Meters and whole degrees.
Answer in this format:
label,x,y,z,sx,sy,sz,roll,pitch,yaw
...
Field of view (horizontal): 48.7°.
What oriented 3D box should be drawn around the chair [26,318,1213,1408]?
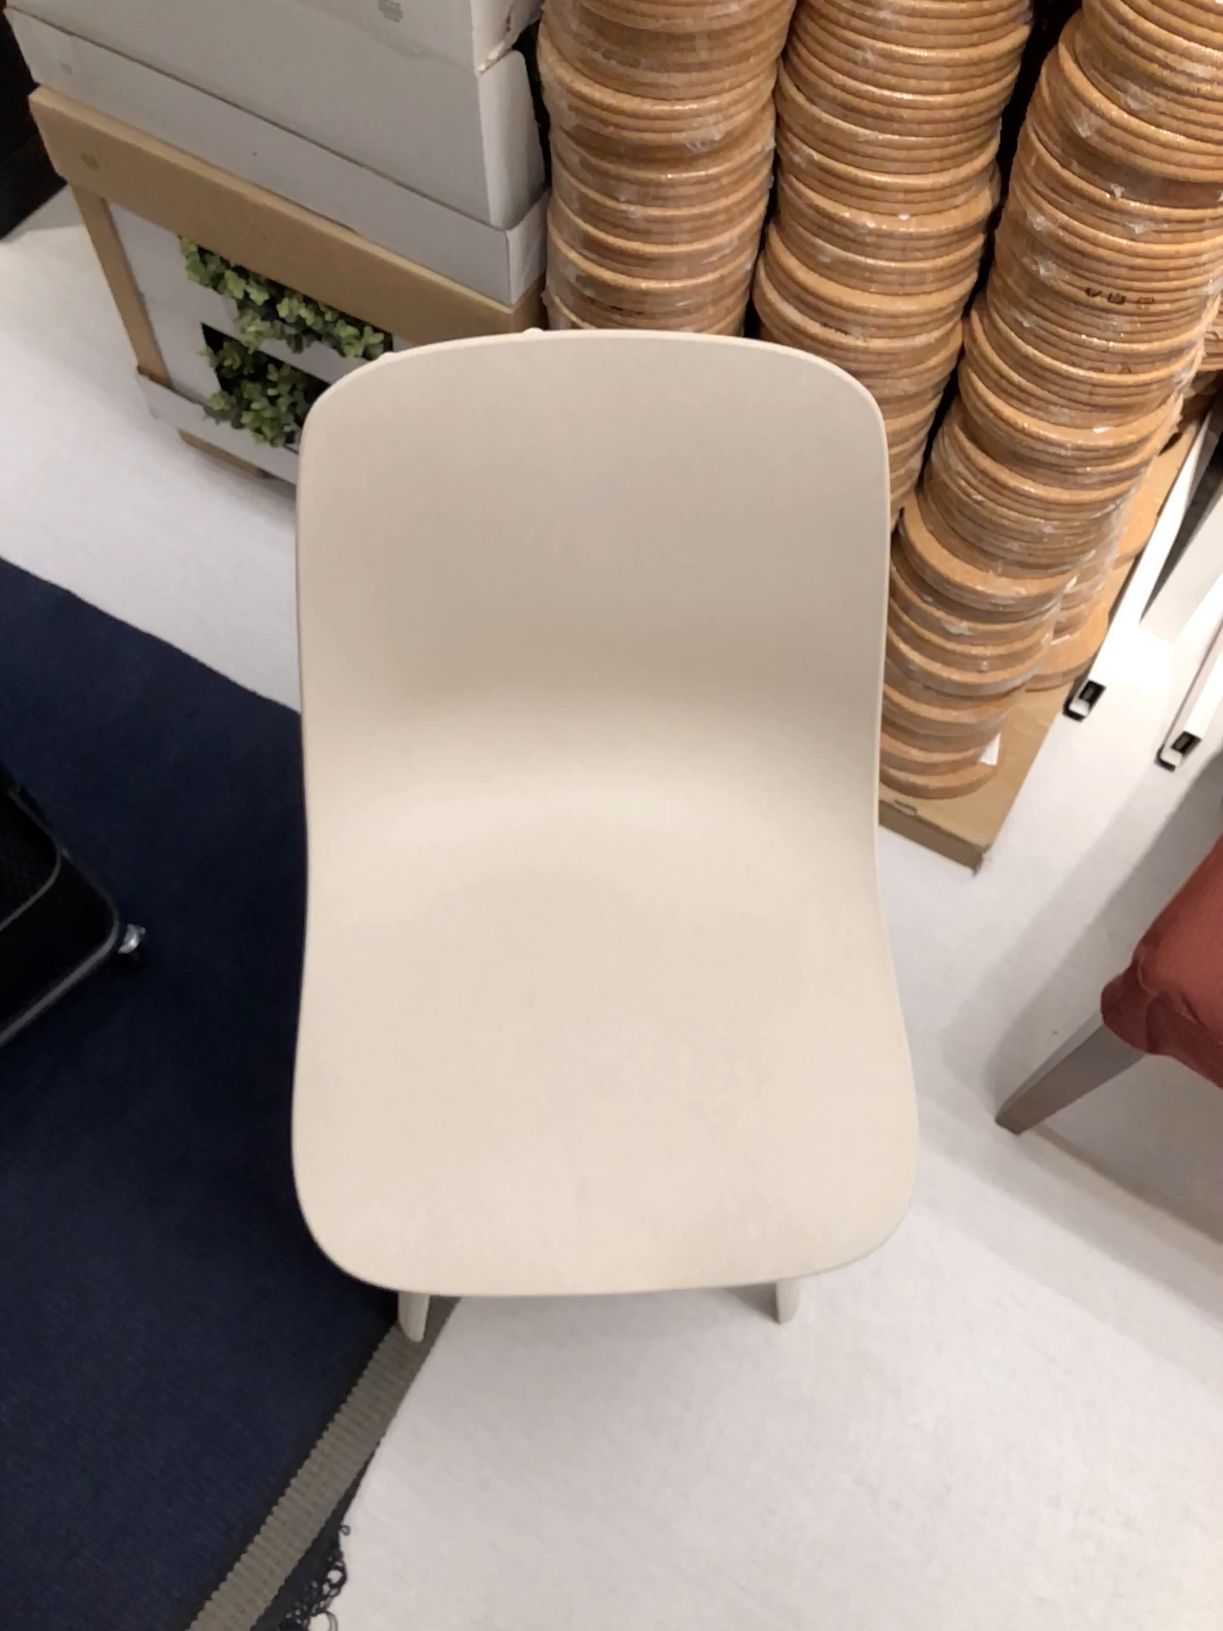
label,x,y,z,sx,sy,sz,roll,pitch,yaw
chair,-0.007,0.115,0.933,0.450,0.698,0.492,-3,64,-1
